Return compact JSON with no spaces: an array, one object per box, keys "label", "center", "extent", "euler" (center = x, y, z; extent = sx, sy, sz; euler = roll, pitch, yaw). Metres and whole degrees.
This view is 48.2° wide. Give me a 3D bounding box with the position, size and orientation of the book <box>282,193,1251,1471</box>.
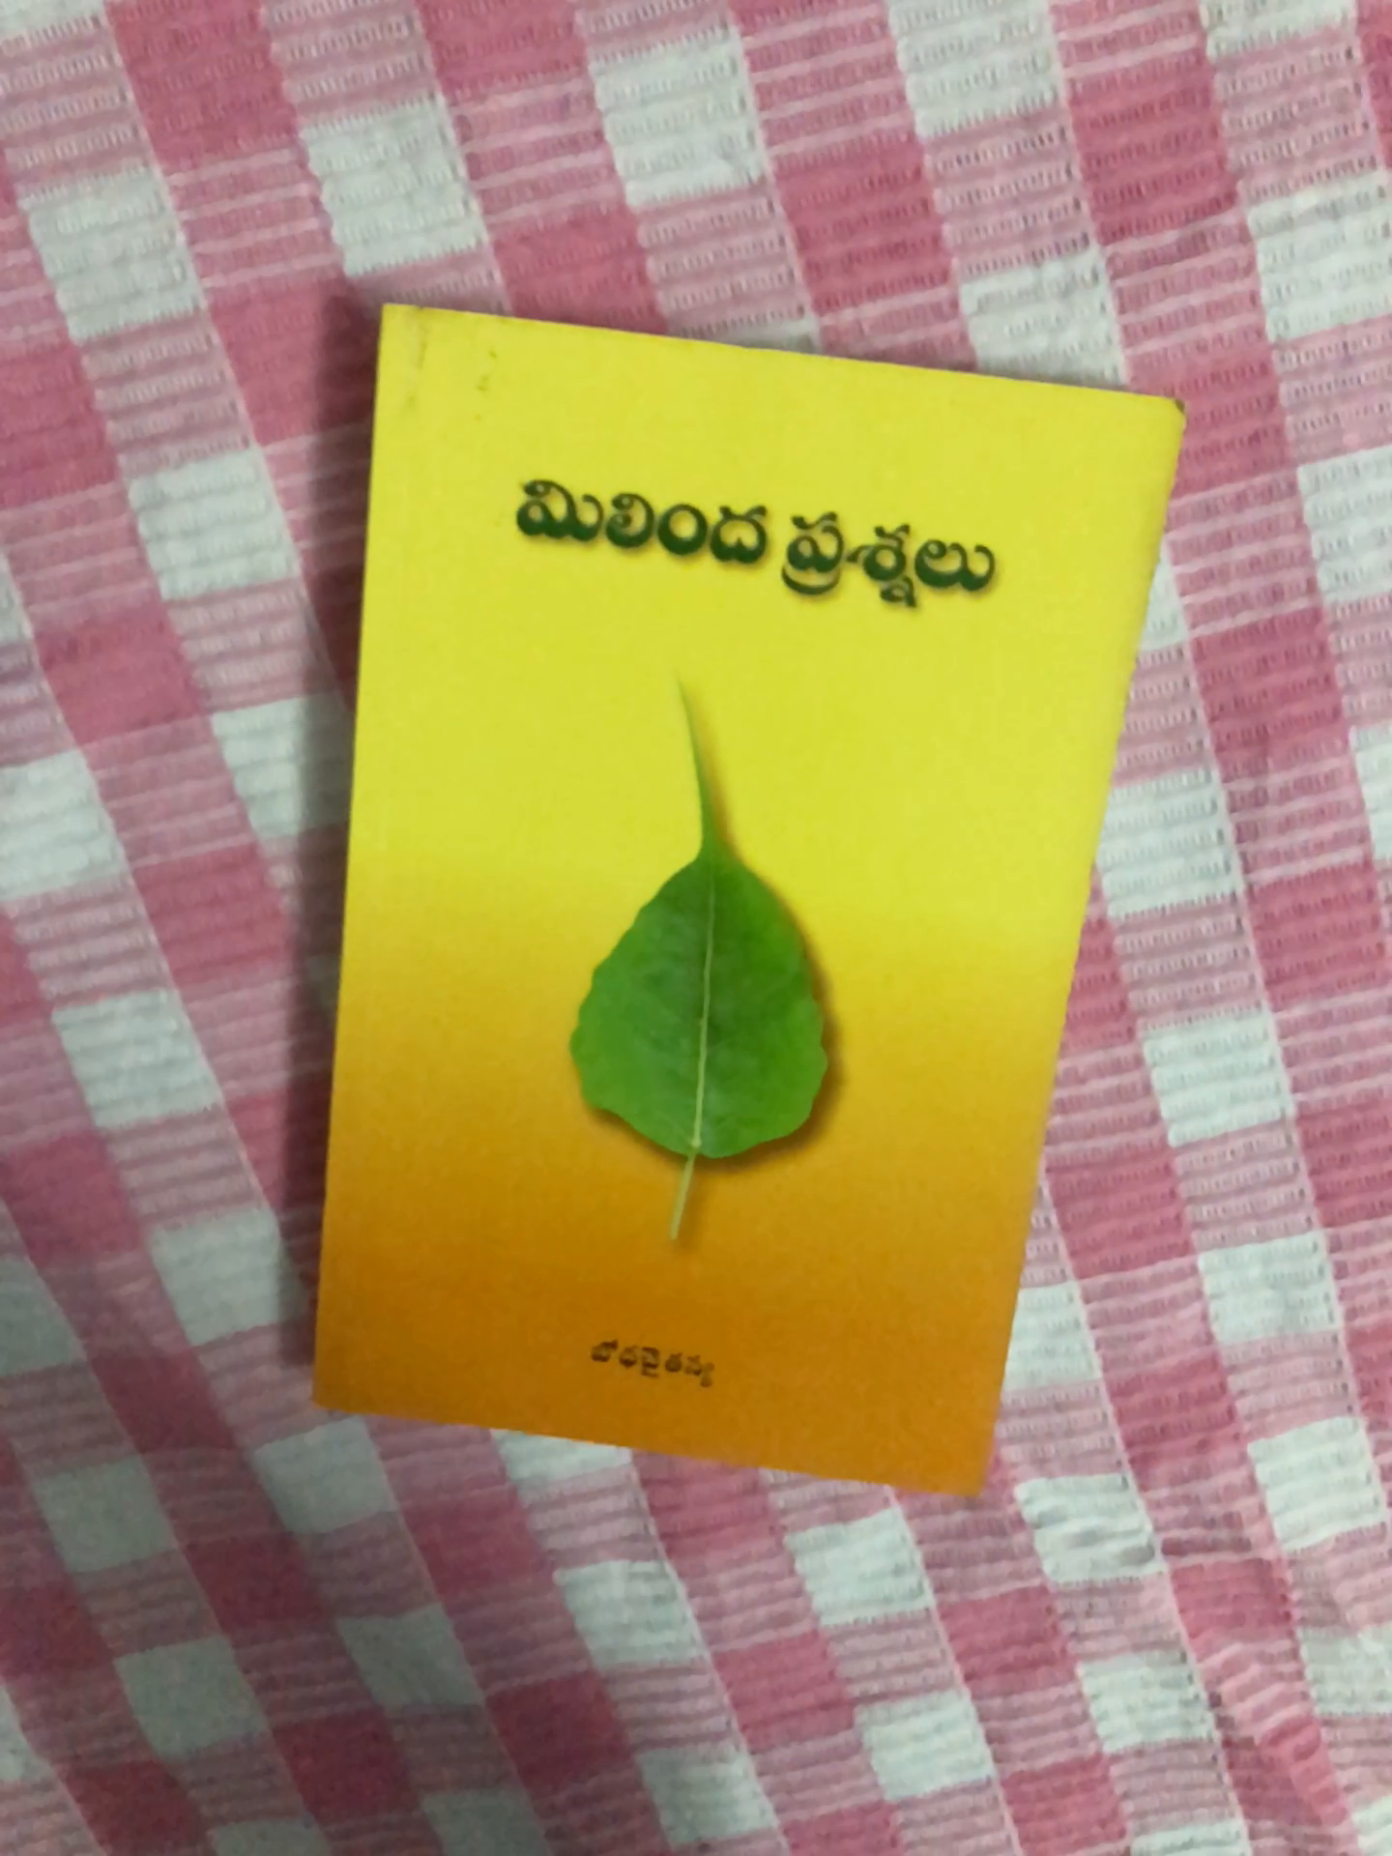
[{"label":"book","center":[0.005,-0.008,0.292],"extent":[0.150,0.020,0.220],"euler":[6,104,-2]}]
